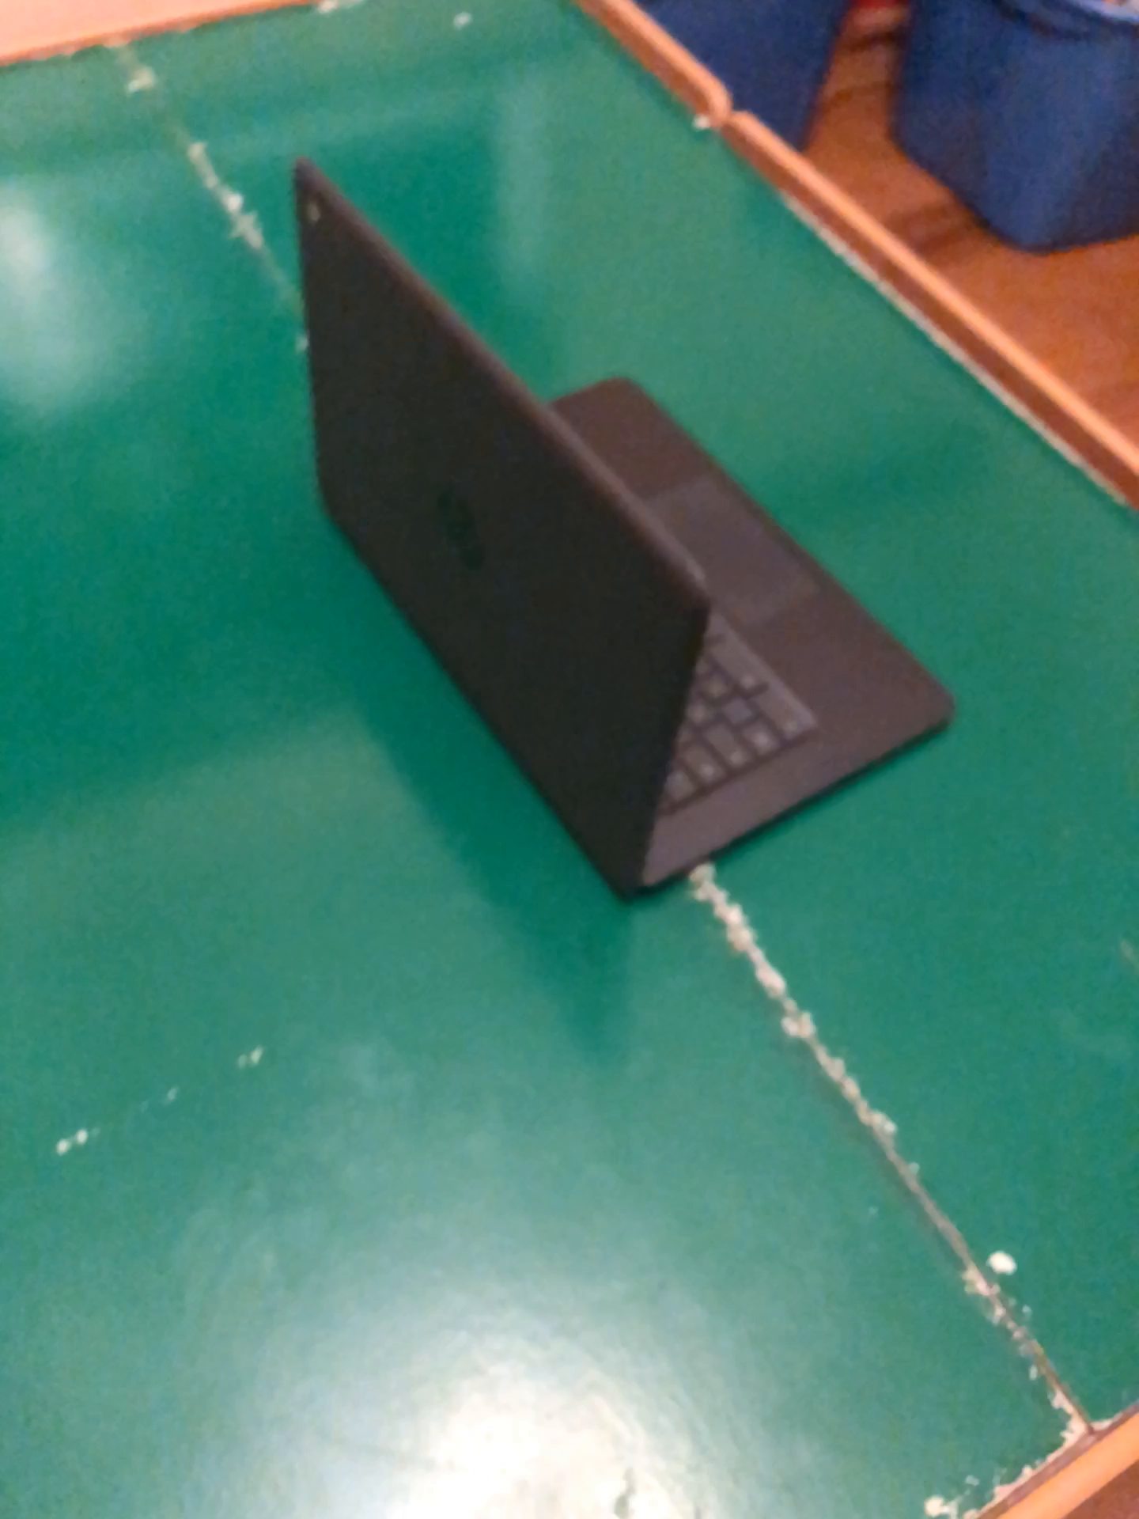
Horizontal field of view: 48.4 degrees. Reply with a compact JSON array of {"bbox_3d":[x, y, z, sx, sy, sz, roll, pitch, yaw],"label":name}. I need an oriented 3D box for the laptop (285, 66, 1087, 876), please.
[{"bbox_3d":[0.037,-0.156,0.648,0.211,0.204,0.318,-27,61,-22],"label":"laptop"}]
